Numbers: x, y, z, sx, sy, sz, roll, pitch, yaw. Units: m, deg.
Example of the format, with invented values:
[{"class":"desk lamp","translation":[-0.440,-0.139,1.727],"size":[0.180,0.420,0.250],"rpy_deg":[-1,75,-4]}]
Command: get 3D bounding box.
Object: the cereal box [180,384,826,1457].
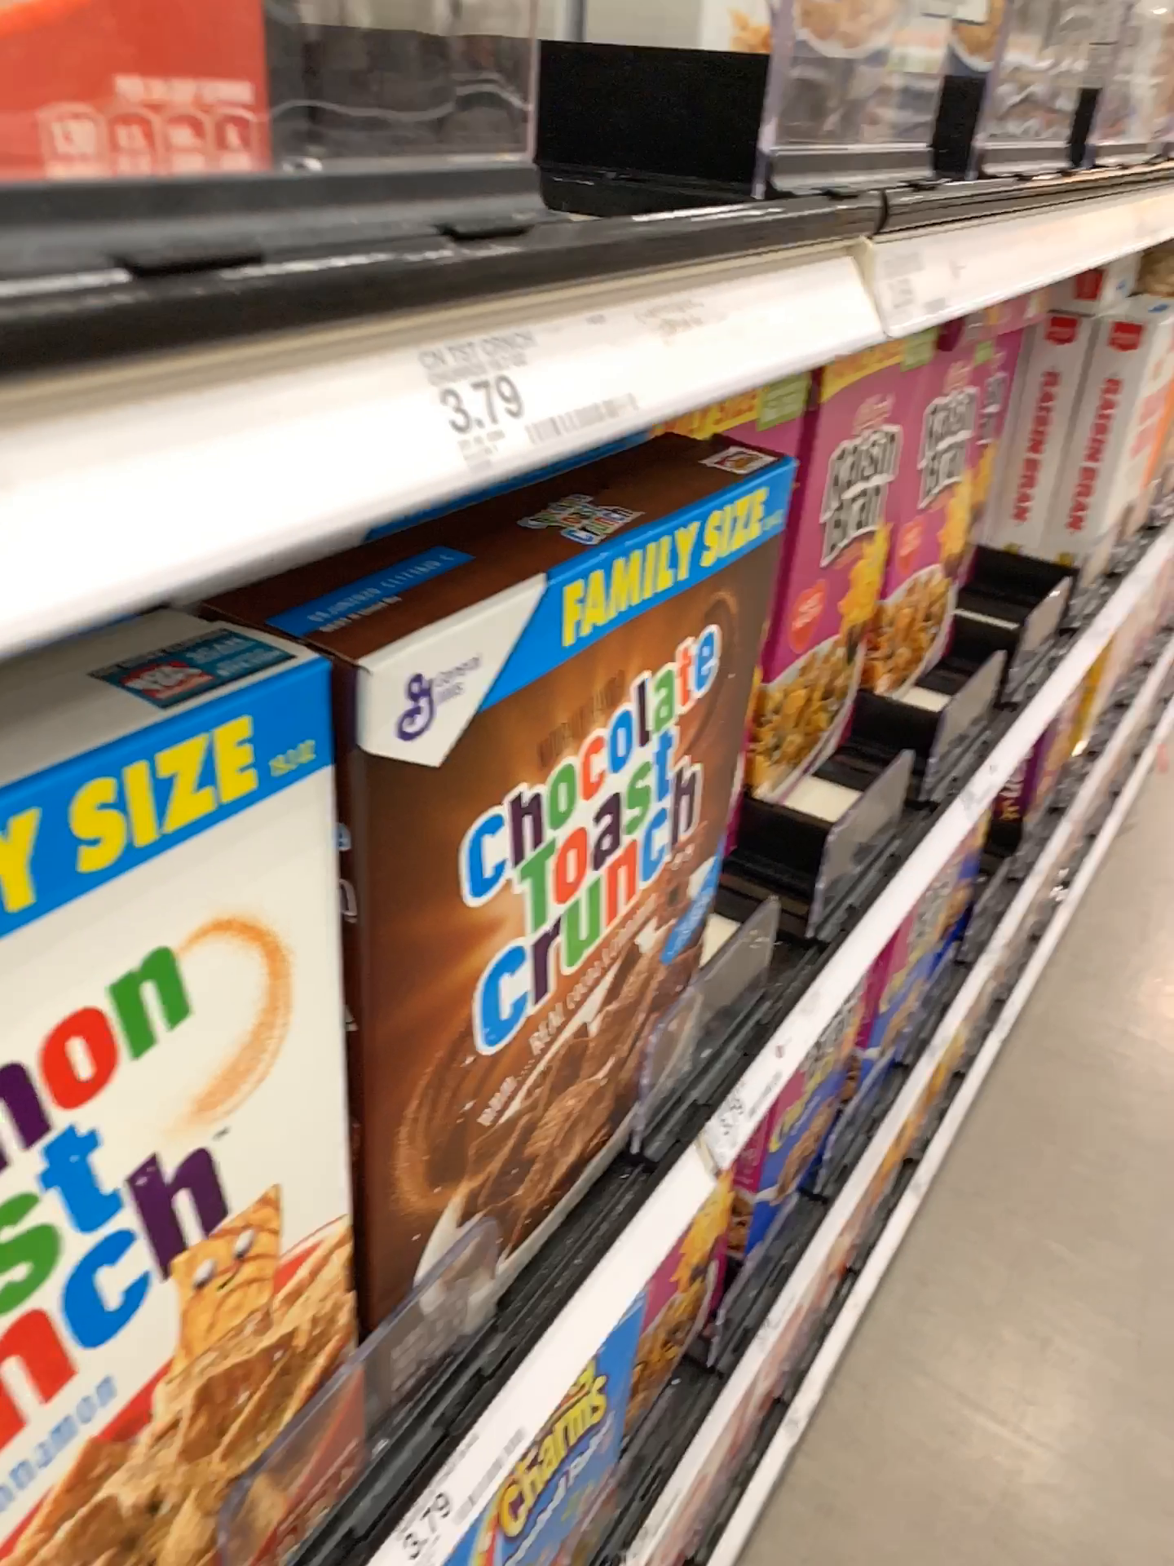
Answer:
[{"class":"cereal box","translation":[-0.017,0.039,0.435],"size":[0.060,0.308,0.241],"rpy_deg":[22,35,25]}]
